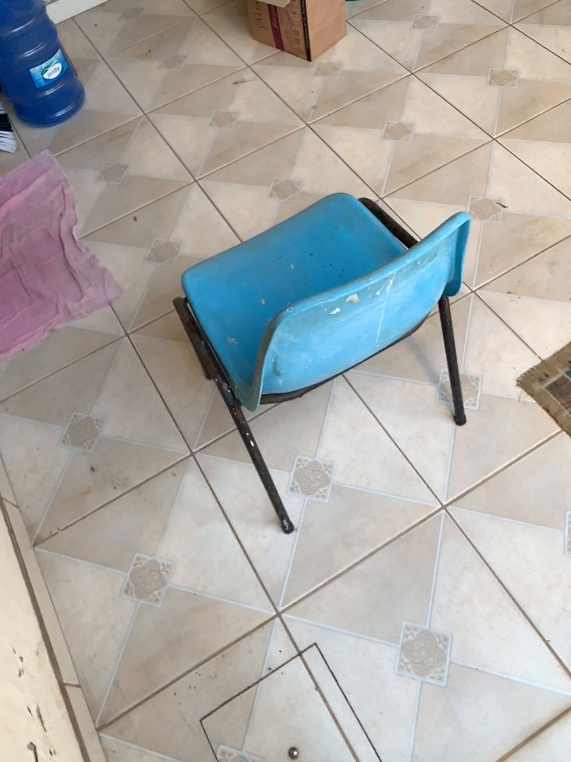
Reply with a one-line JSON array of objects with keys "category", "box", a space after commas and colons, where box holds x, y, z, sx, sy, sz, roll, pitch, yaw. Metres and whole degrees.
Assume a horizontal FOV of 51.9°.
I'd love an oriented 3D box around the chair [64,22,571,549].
[{"category": "chair", "box": [0.053, -0.137, 1.152, 0.550, 0.688, 0.531, -30, 60, -11]}]
